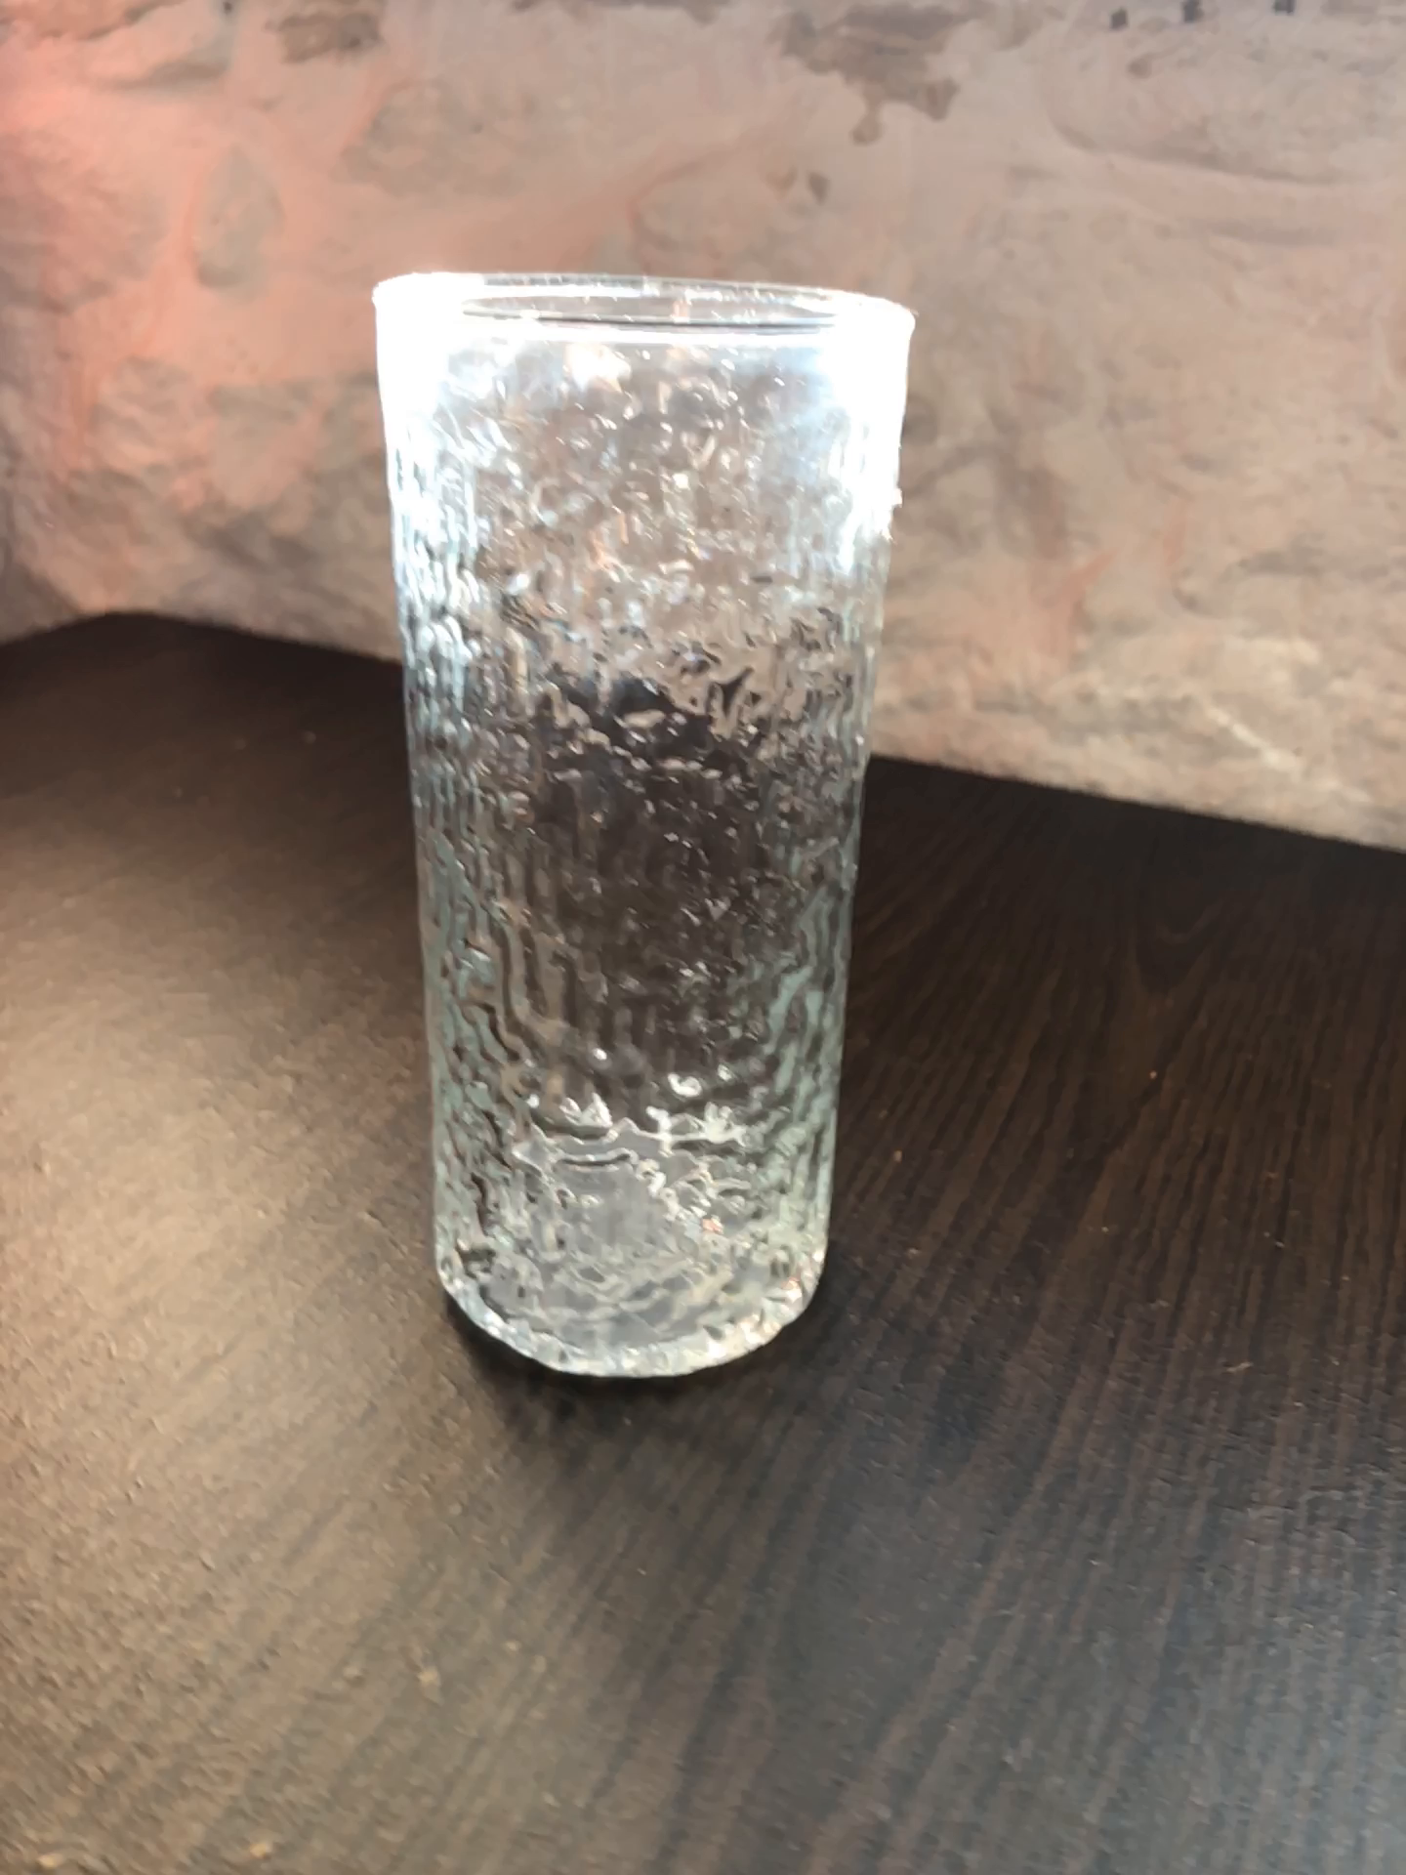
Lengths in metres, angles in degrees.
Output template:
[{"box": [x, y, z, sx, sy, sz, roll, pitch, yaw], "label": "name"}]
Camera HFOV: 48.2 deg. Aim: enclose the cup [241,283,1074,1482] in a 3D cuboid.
[{"box": [-0.006, -0.014, 0.208, 0.070, 0.131, 0.068, 3, 24, -1], "label": "cup"}]
